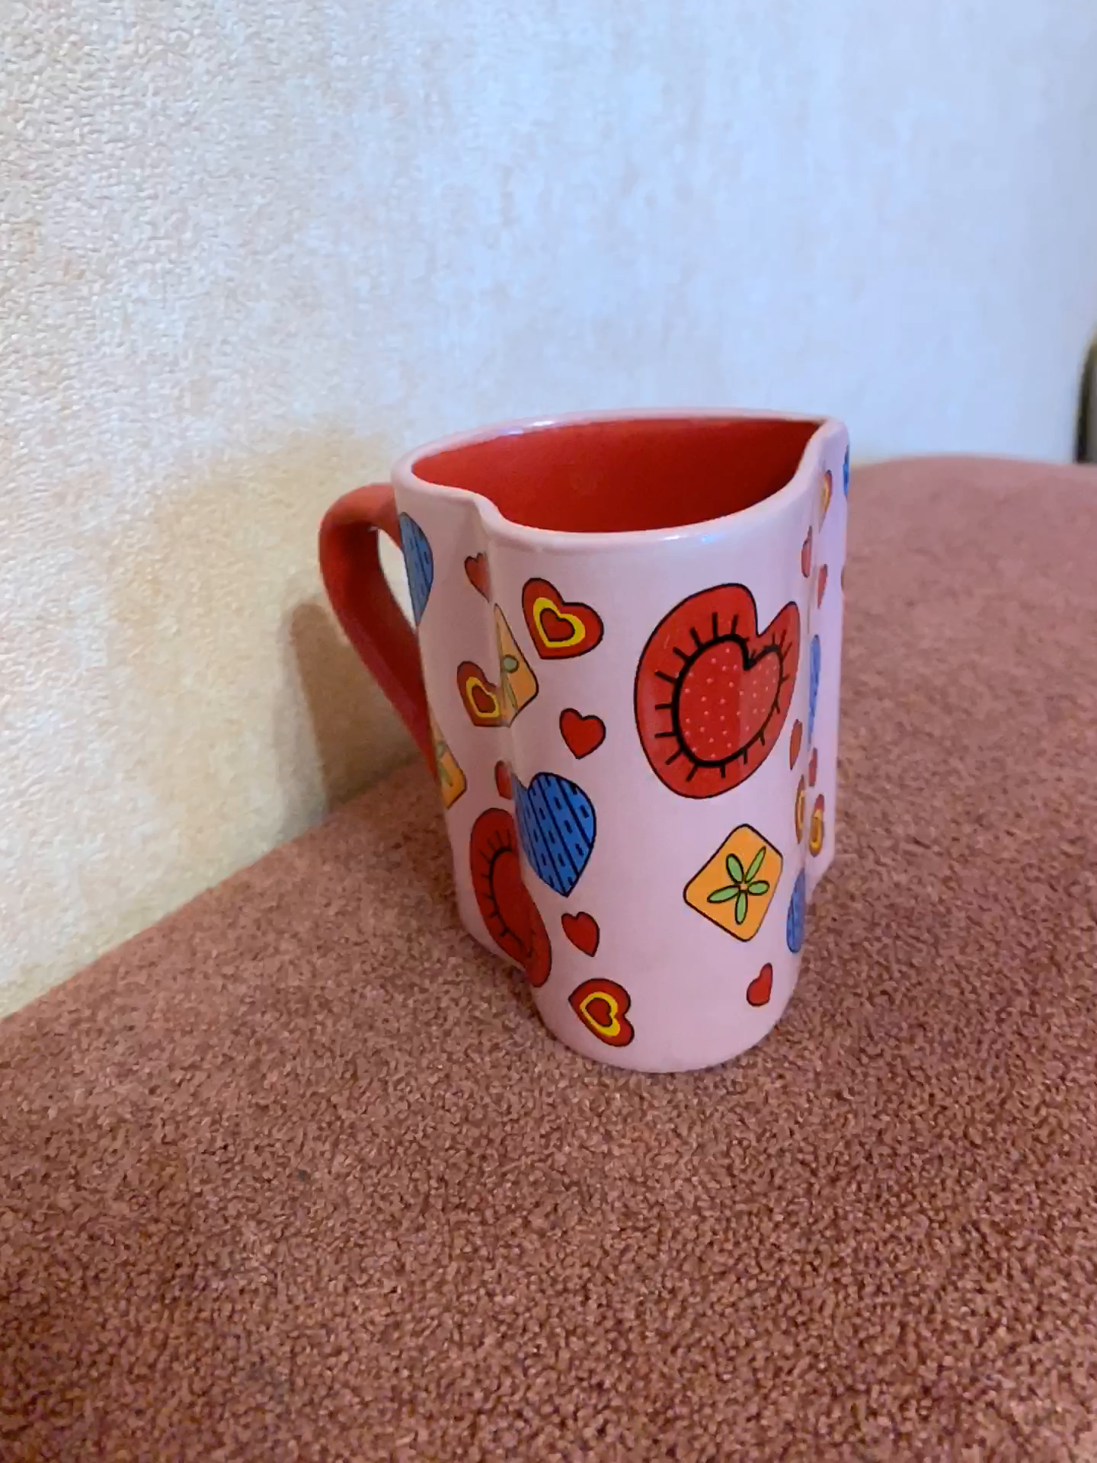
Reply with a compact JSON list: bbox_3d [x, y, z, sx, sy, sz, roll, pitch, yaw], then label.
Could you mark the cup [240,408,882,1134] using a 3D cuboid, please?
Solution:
[{"bbox_3d":[0.012,-0.001,0.202,0.082,0.091,0.085,-4,26,2],"label":"cup"}]
